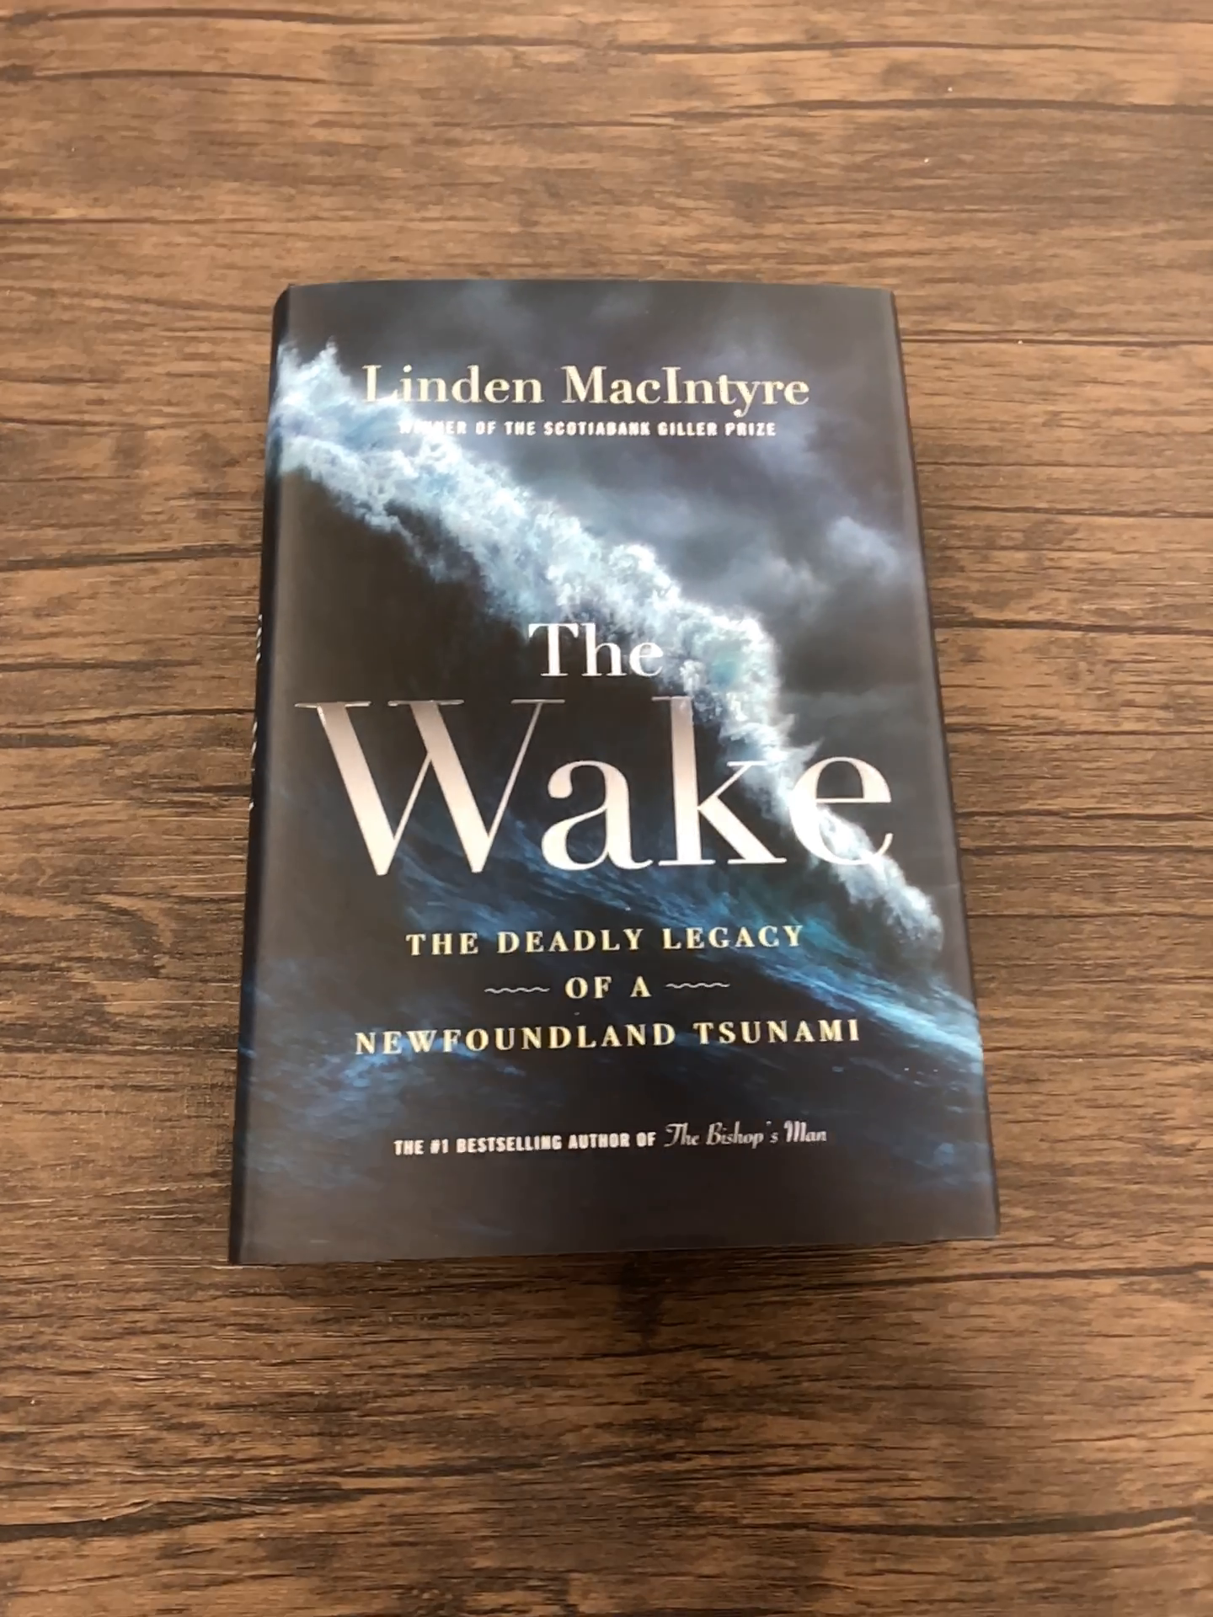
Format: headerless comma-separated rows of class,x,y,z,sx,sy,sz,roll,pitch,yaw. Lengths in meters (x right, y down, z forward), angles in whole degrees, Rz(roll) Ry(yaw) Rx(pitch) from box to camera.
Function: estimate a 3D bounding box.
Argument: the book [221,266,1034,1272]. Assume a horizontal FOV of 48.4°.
book,0.002,-0.014,0.321,0.160,0.050,0.230,0,73,-4
